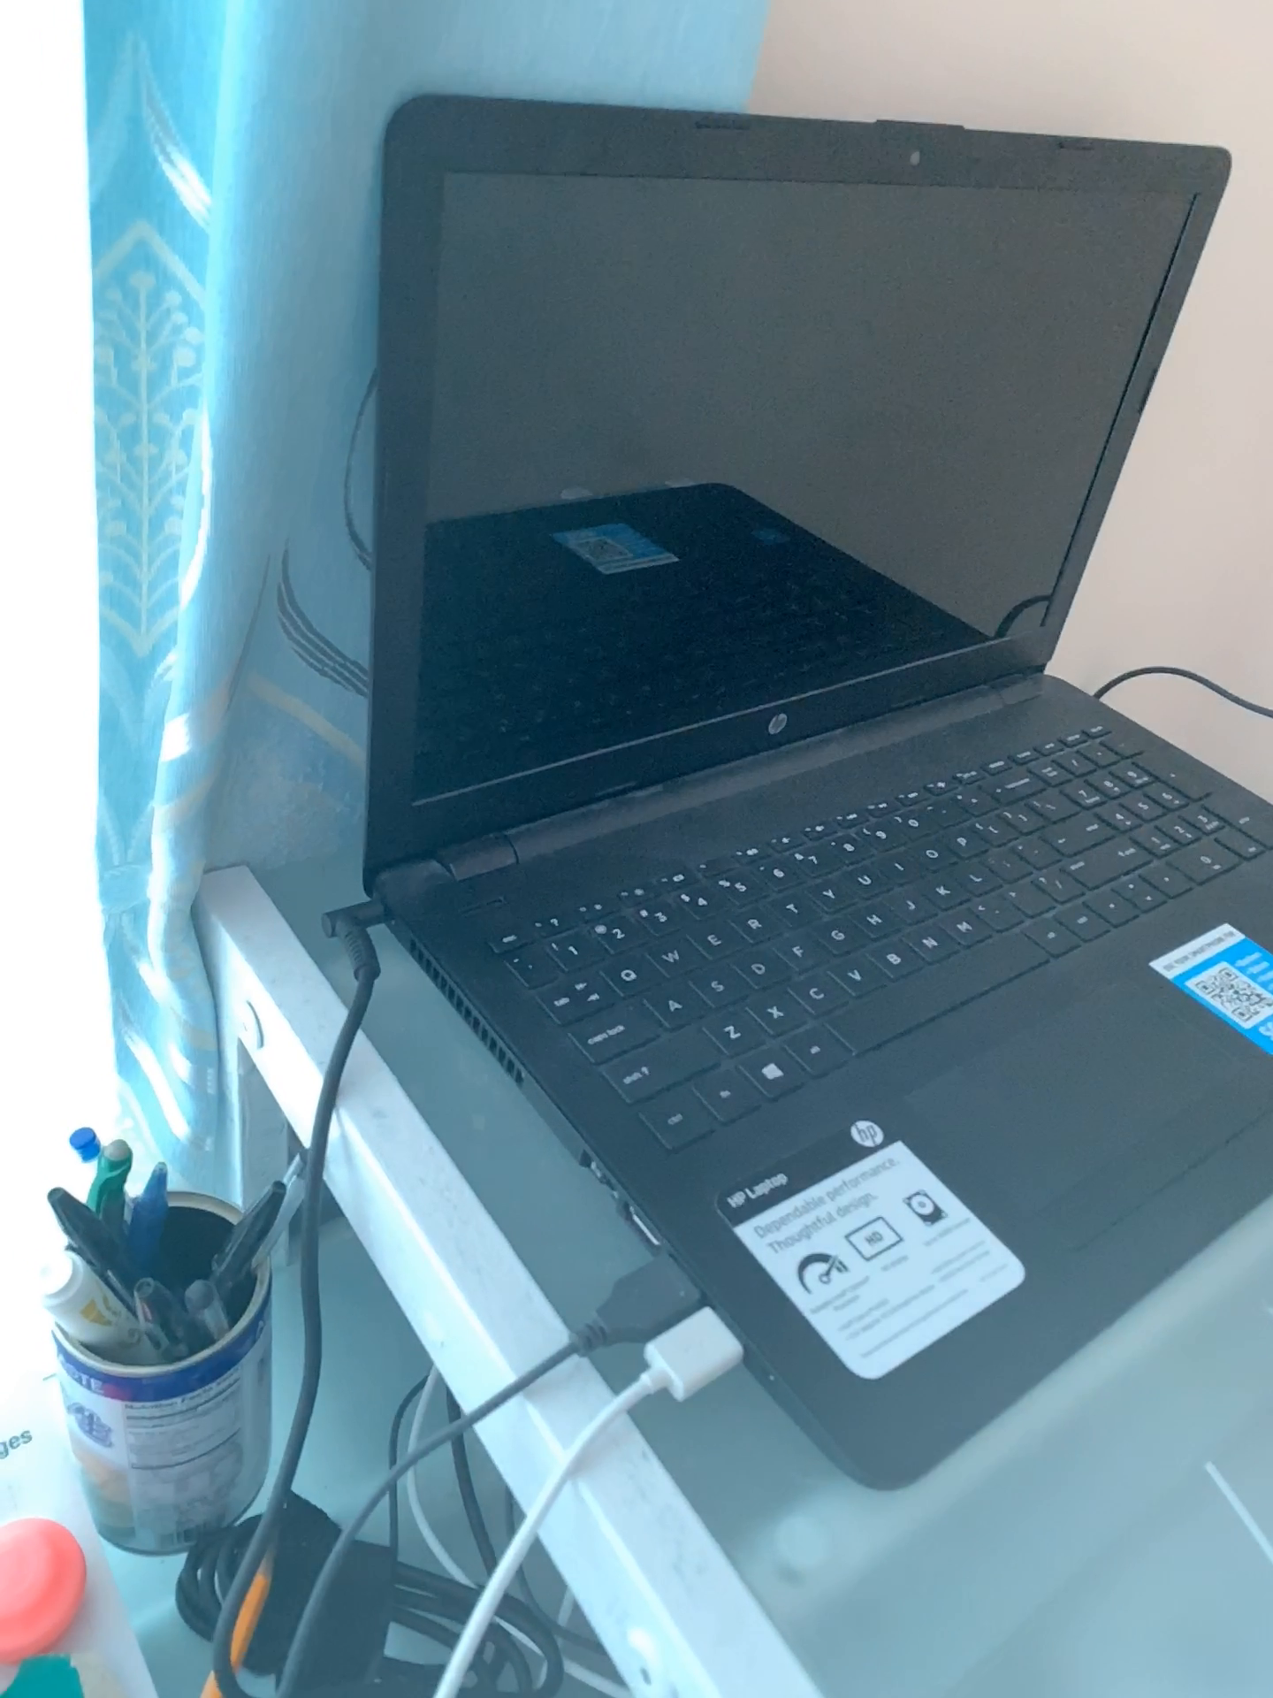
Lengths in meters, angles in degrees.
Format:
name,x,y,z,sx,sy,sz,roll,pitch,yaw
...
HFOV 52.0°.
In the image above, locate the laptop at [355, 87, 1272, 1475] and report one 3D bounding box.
name,x,y,z,sx,sy,sz,roll,pitch,yaw
laptop,0.140,-0.064,0.396,0.359,0.225,0.246,-18,45,-34
